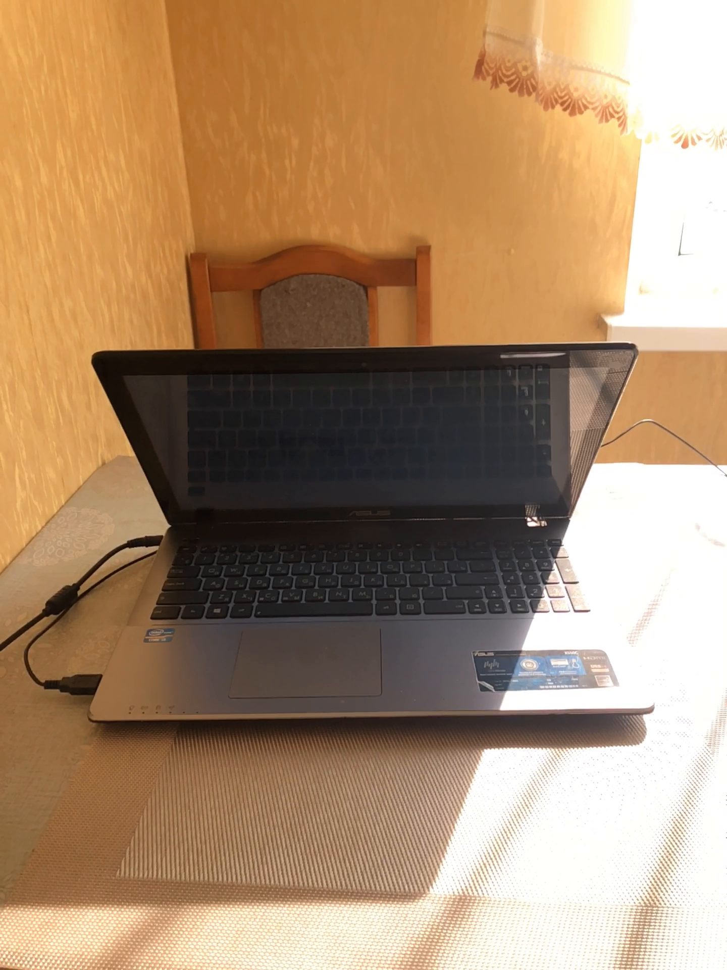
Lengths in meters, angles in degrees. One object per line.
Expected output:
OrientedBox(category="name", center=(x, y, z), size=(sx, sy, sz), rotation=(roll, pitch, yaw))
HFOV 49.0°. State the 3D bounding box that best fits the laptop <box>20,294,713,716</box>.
OrientedBox(category="laptop", center=(0.003, -0.002, 0.569), size=(0.362, 0.200, 0.245), rotation=(-1, 26, 1))
